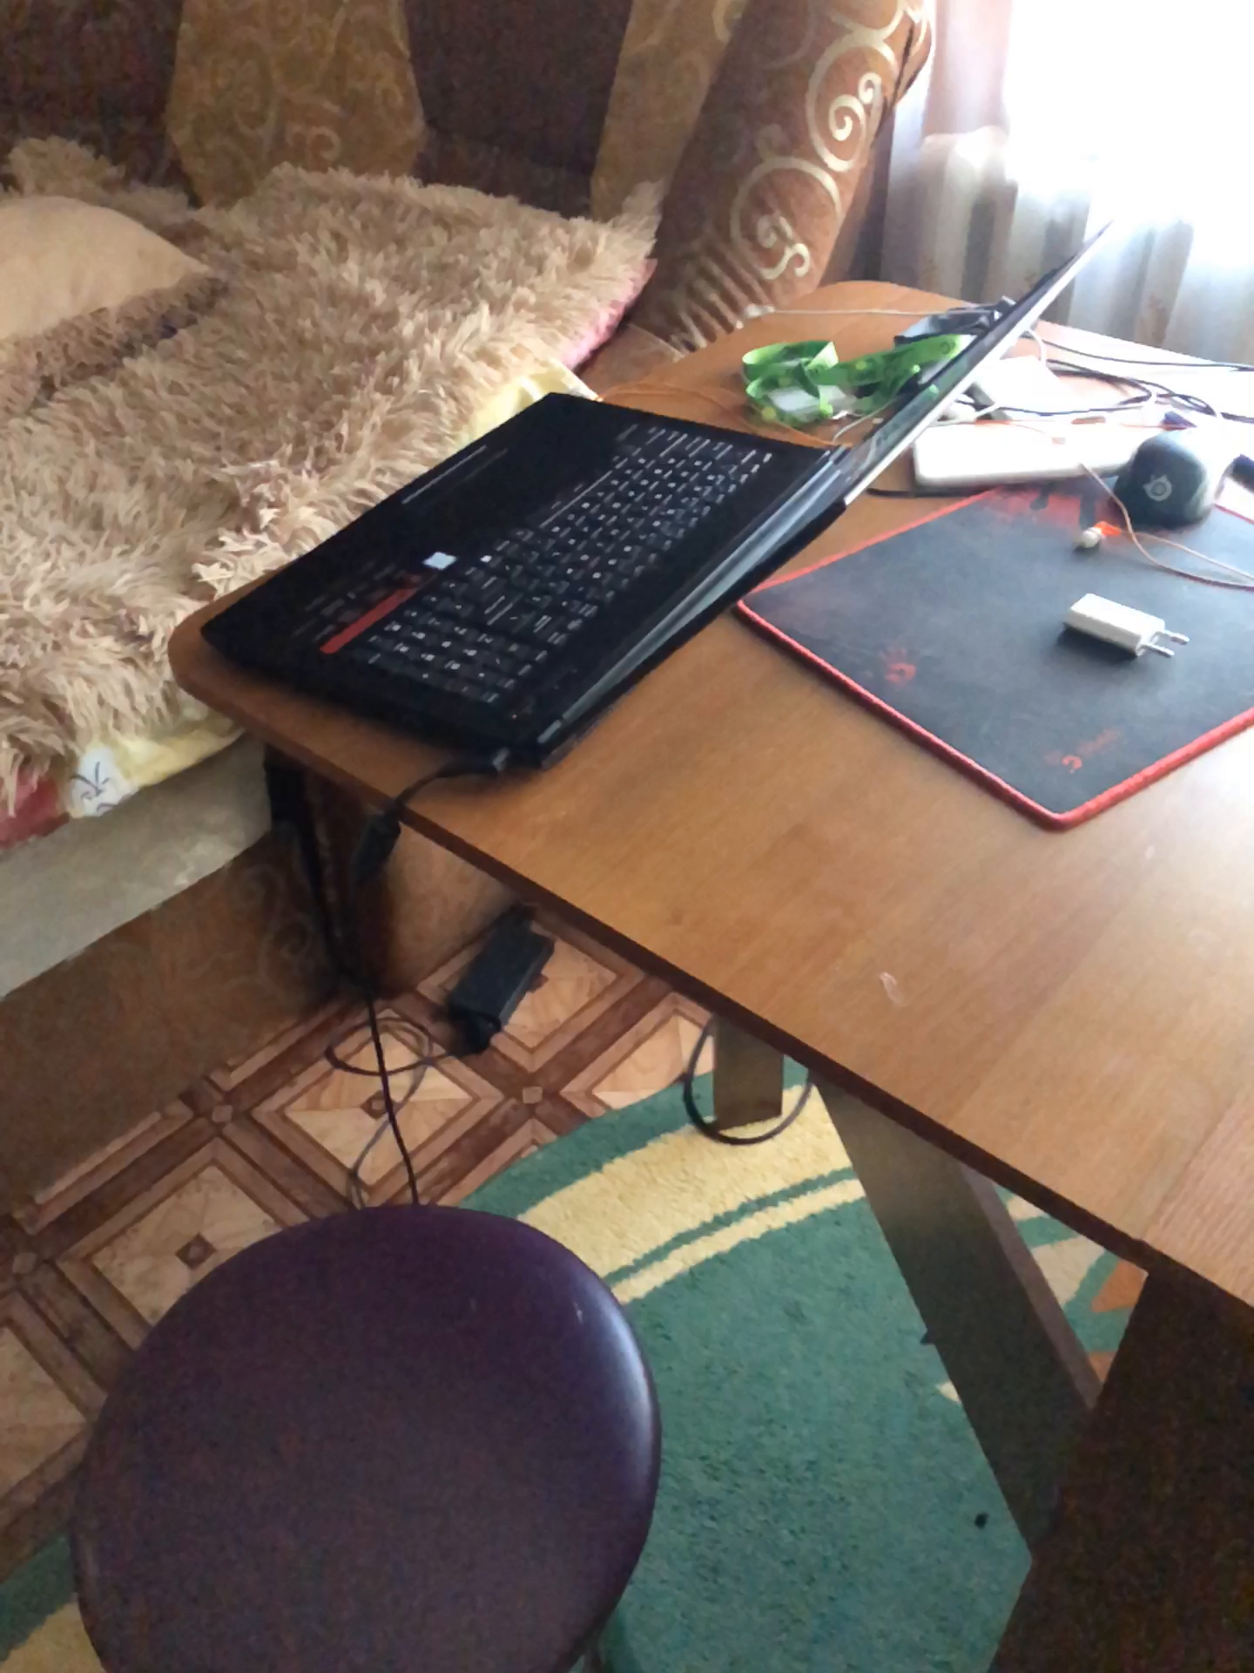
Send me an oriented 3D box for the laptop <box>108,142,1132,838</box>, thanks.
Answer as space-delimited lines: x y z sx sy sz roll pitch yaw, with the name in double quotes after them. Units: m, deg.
0.008 -0.236 0.795 0.409 0.174 0.375 20 46 25 "laptop"
